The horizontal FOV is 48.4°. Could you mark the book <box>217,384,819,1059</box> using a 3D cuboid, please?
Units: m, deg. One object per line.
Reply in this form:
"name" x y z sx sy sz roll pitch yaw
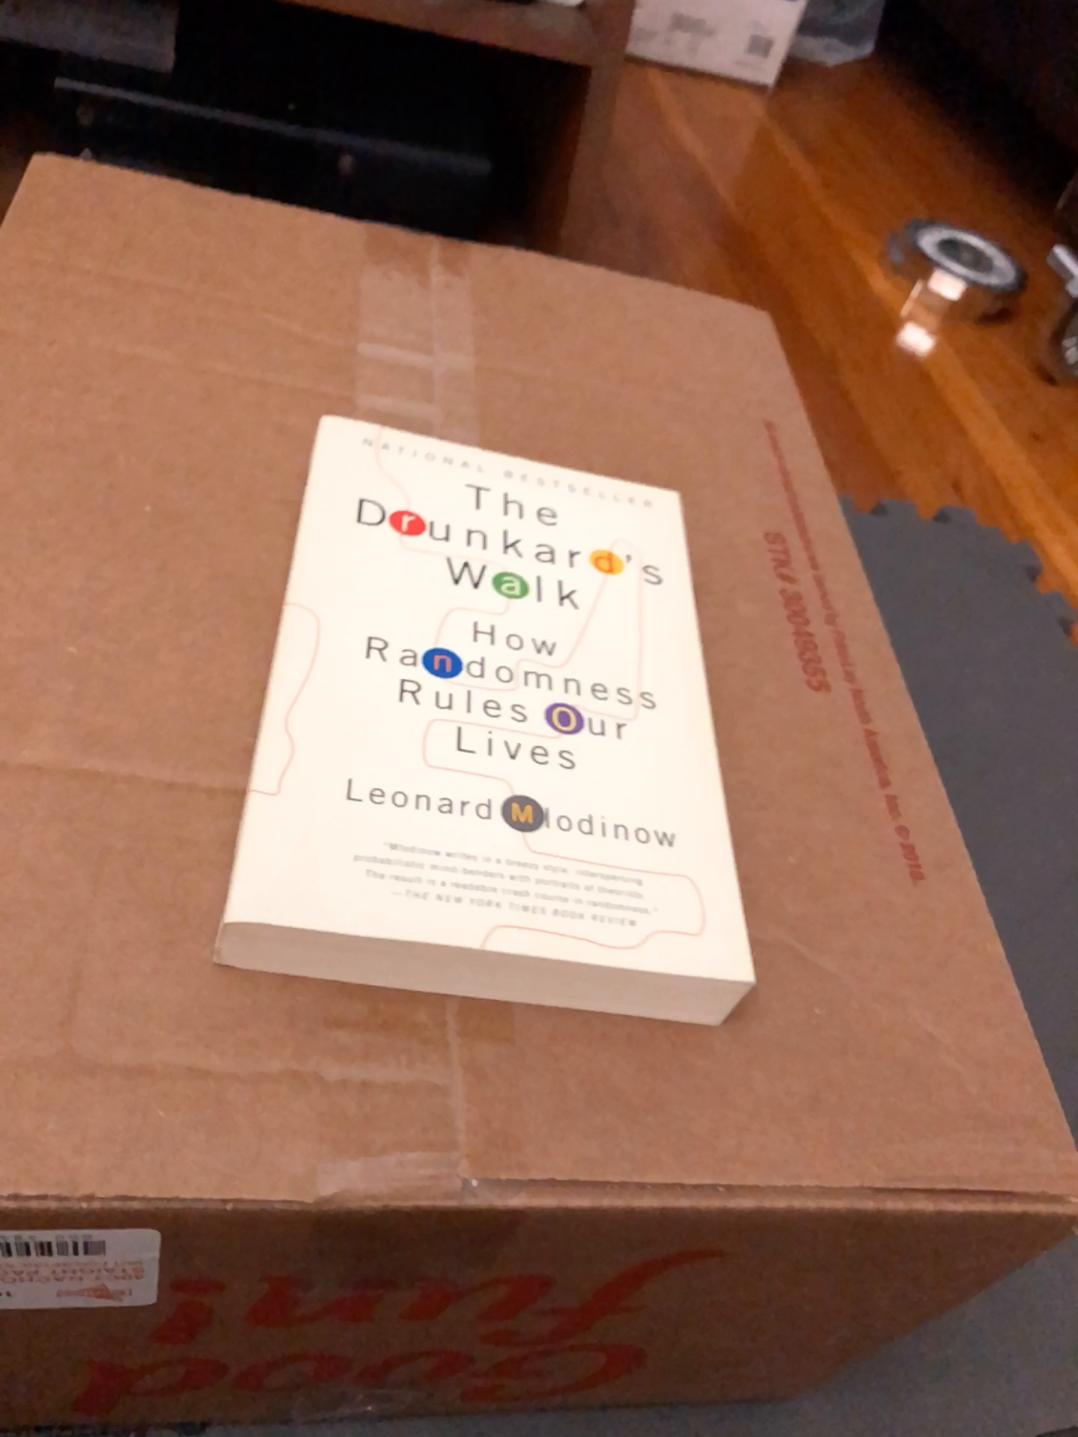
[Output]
"book" -0.007 -0.011 0.361 0.140 0.040 0.211 9 47 -11
